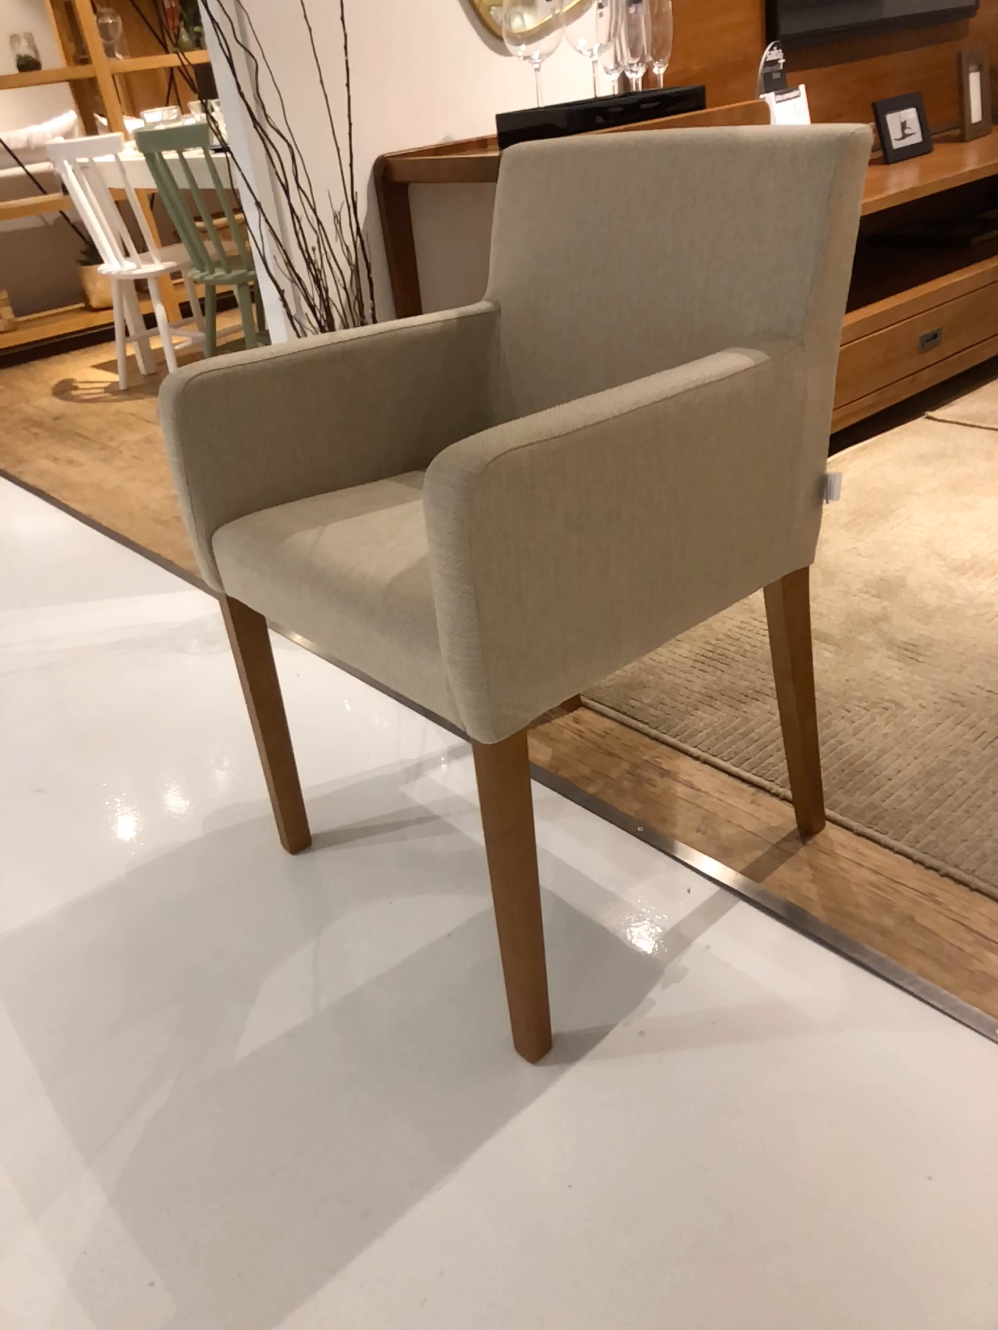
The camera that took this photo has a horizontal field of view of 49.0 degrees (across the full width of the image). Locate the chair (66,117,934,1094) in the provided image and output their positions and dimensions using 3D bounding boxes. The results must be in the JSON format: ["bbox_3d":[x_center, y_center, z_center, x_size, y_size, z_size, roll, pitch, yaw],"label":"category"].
[{"bbox_3d":[0.026,-0.138,1.267,0.622,0.794,0.603,-27,34,-30],"label":"chair"}]
